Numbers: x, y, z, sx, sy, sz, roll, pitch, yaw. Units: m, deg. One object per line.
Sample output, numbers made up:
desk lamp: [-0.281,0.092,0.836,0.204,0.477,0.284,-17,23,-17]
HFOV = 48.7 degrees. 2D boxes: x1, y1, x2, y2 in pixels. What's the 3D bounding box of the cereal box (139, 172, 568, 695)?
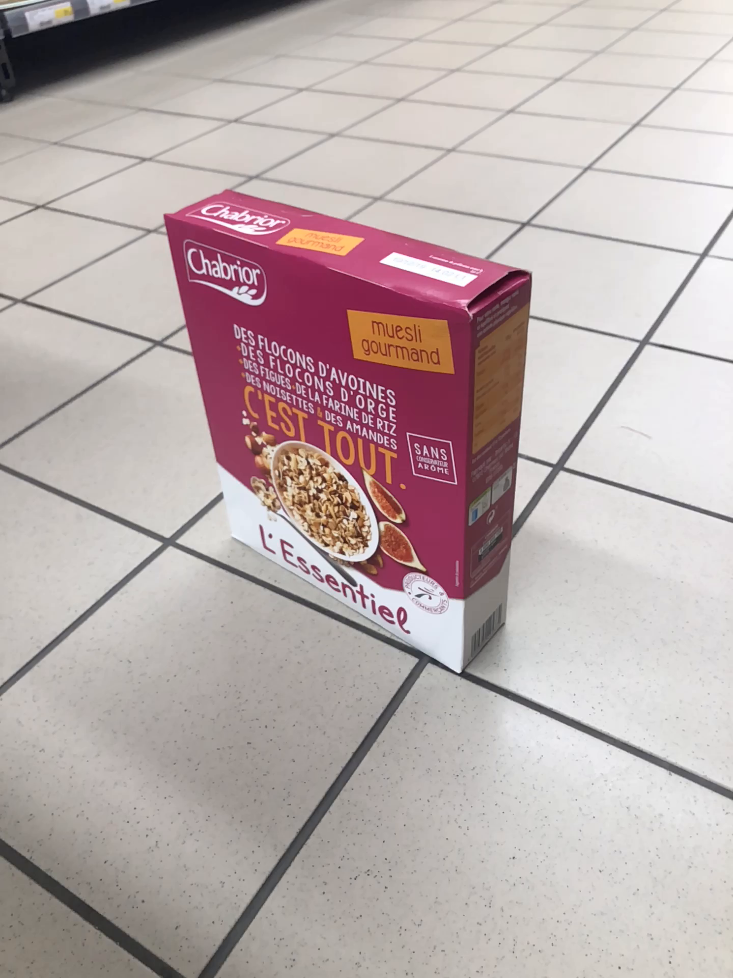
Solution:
cereal box: [-0.009,-0.031,0.445,0.210,0.229,0.060,26,48,32]
